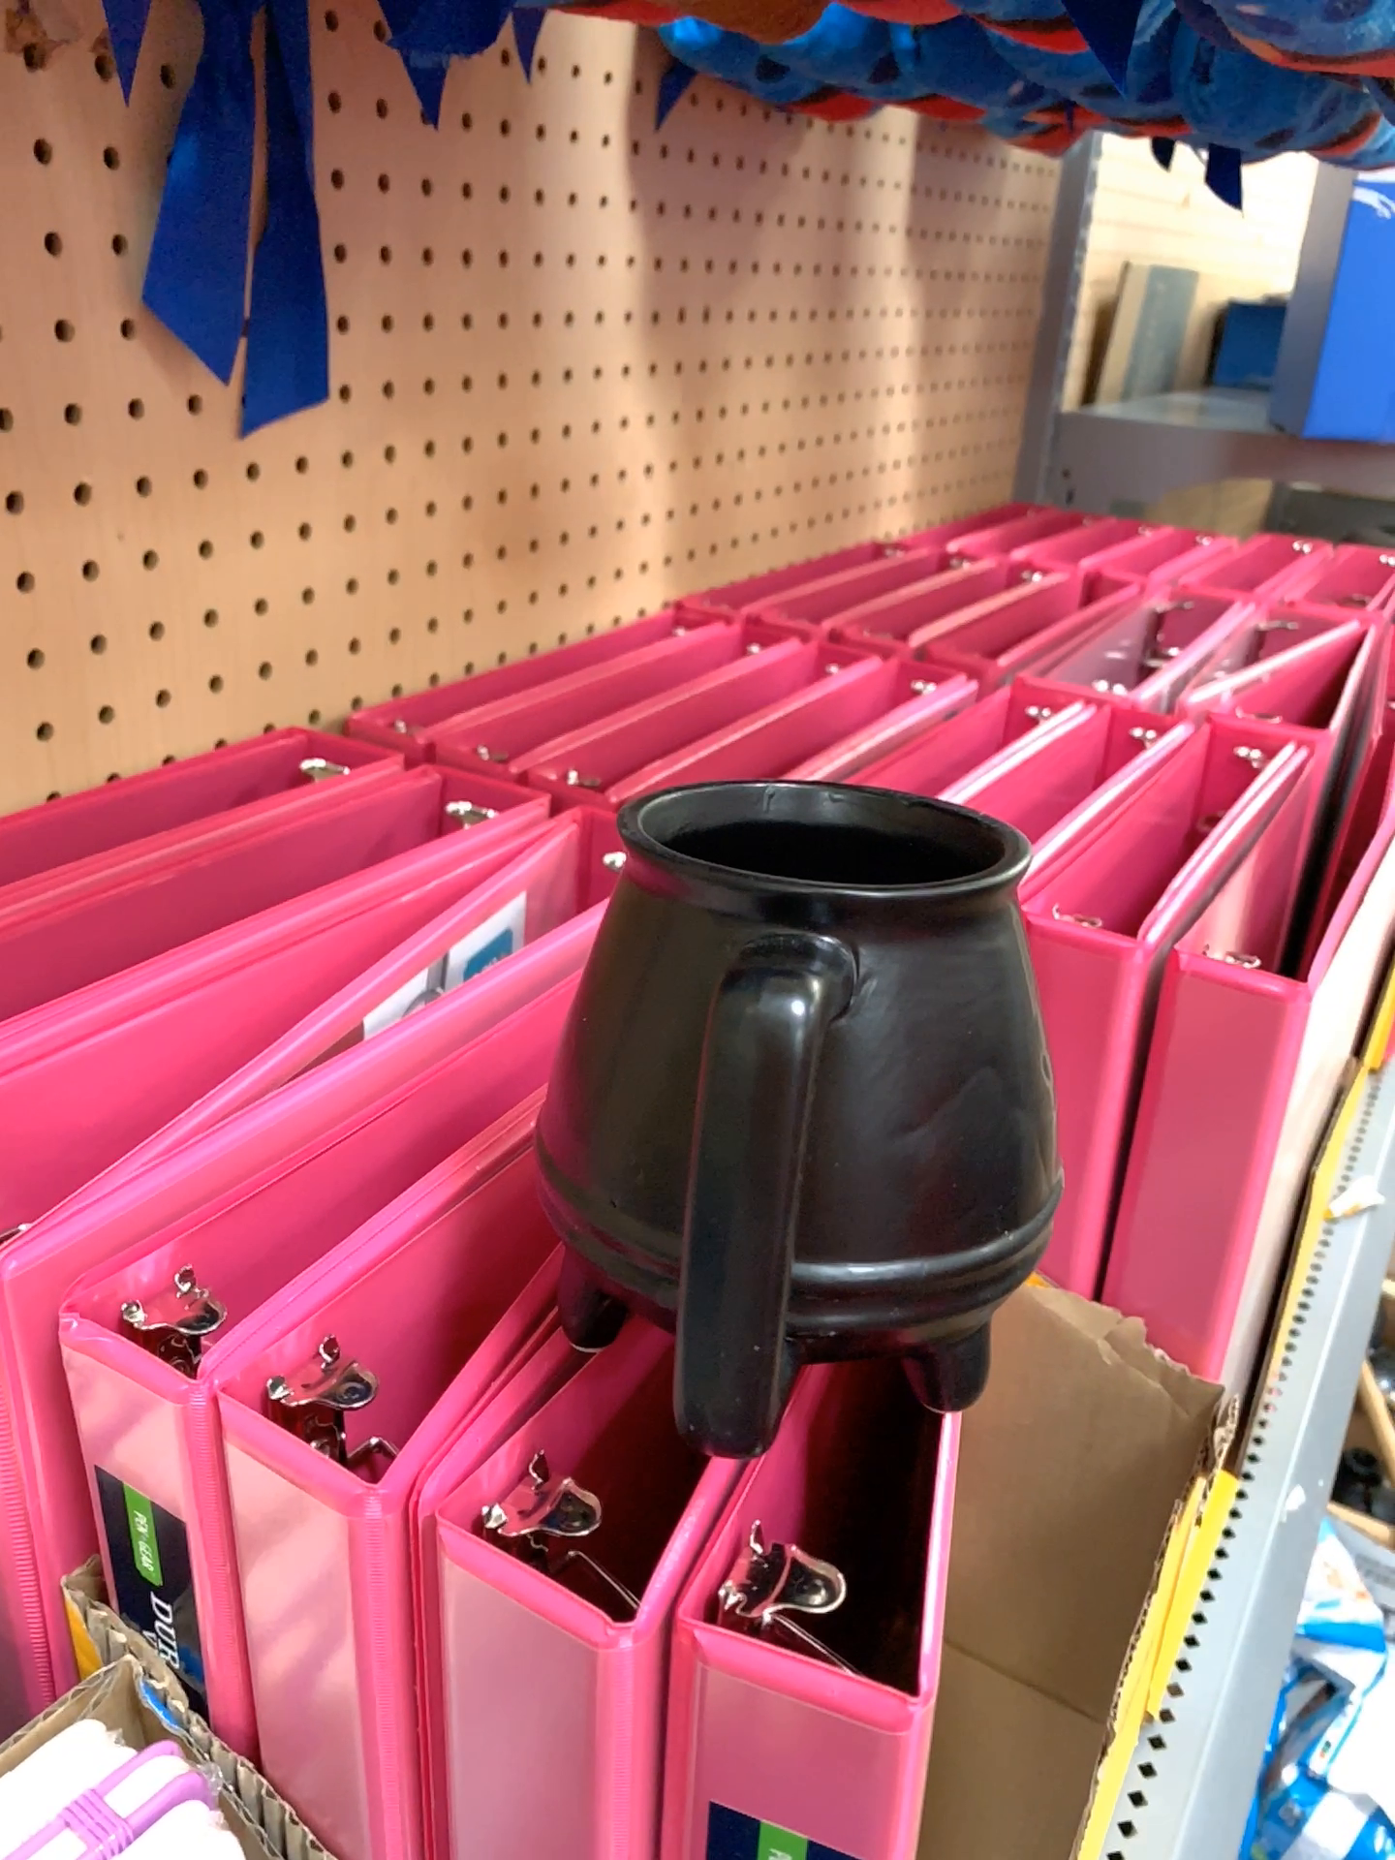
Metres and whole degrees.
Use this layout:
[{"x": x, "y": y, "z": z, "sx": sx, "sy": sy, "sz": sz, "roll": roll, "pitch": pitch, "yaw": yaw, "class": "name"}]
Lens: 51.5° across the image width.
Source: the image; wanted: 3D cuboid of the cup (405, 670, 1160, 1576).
[{"x": 0.019, "y": 0.020, "z": 0.255, "sx": 0.097, "sy": 0.093, "sz": 0.122, "roll": 10, "pitch": 24, "yaw": 11, "class": "cup"}]
